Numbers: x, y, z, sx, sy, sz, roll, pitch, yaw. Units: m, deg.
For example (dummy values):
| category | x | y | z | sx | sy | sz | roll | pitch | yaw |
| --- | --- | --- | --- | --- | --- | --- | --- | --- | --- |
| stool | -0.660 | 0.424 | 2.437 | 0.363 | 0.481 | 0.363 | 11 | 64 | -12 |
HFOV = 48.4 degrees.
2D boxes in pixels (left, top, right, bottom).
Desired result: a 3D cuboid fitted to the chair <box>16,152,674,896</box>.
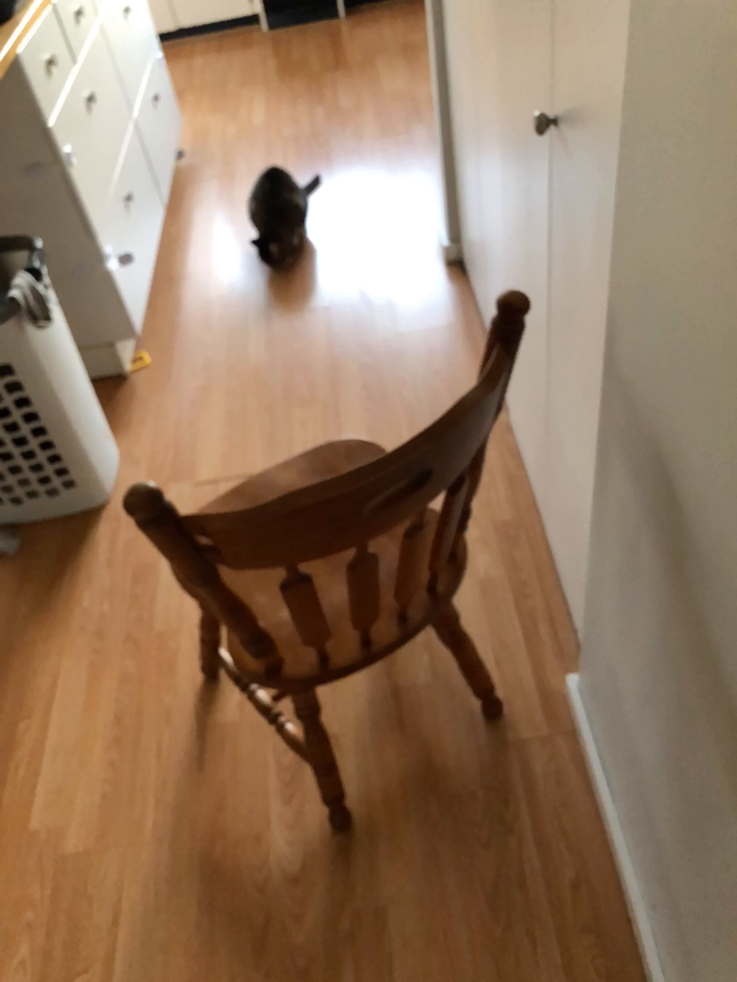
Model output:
| category | x | y | z | sx | sy | sz | roll | pitch | yaw |
| --- | --- | --- | --- | --- | --- | --- | --- | --- | --- |
| chair | -0.010 | 0.064 | 1.268 | 0.560 | 0.818 | 0.592 | -31 | 49 | -17 |
